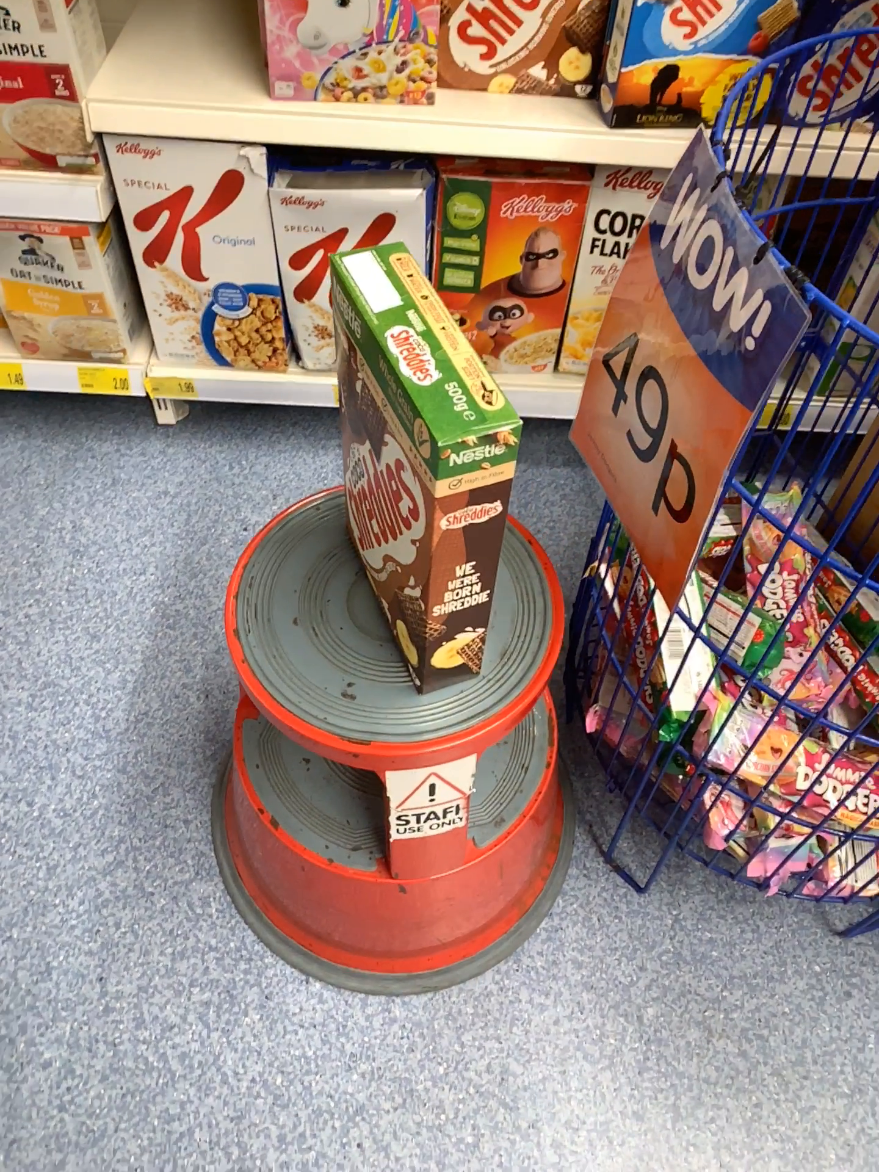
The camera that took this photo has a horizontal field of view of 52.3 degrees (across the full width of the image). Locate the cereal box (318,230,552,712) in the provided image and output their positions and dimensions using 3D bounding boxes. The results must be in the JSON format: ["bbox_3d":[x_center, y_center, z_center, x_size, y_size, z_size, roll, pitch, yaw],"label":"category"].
[{"bbox_3d":[-0.016,-0.071,0.648,0.070,0.278,0.201,-16,55,-16],"label":"cereal box"}]
